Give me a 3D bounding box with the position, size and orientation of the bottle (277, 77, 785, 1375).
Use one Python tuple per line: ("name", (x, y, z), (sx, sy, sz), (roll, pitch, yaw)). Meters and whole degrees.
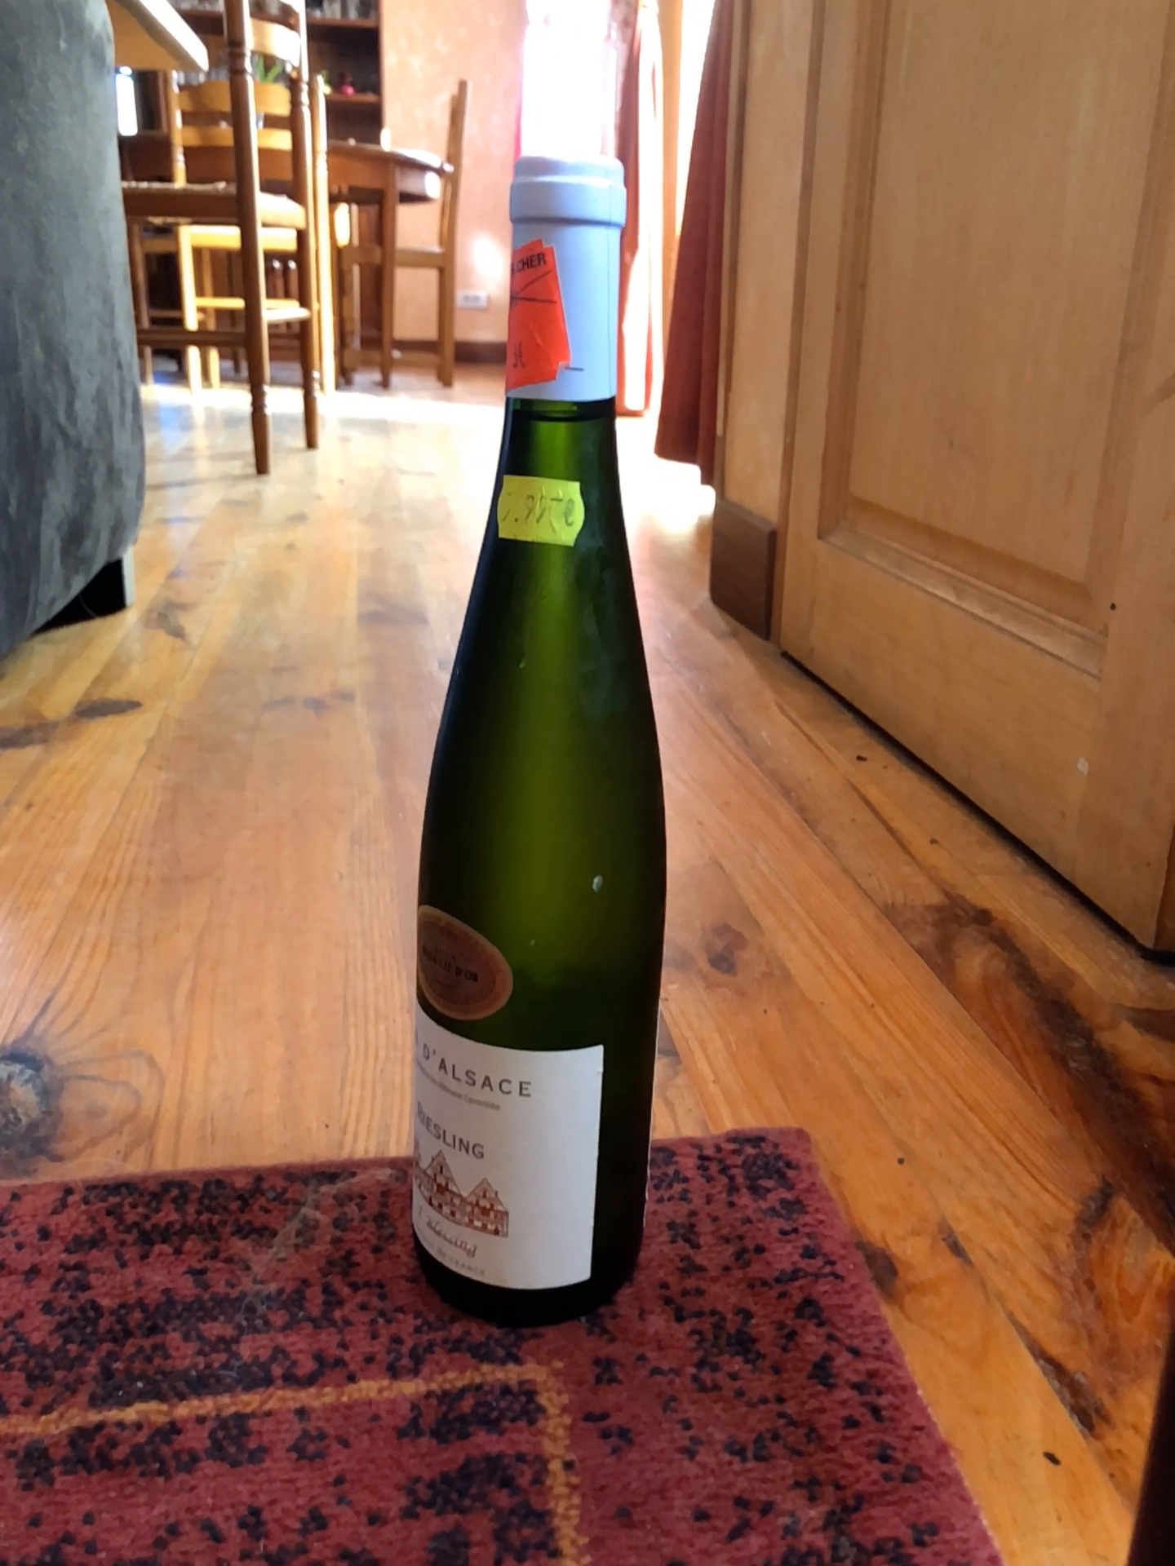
("bottle", (-0.014, -0.007, 0.338), (0.080, 0.299, 0.080), (1, 20, 0))
